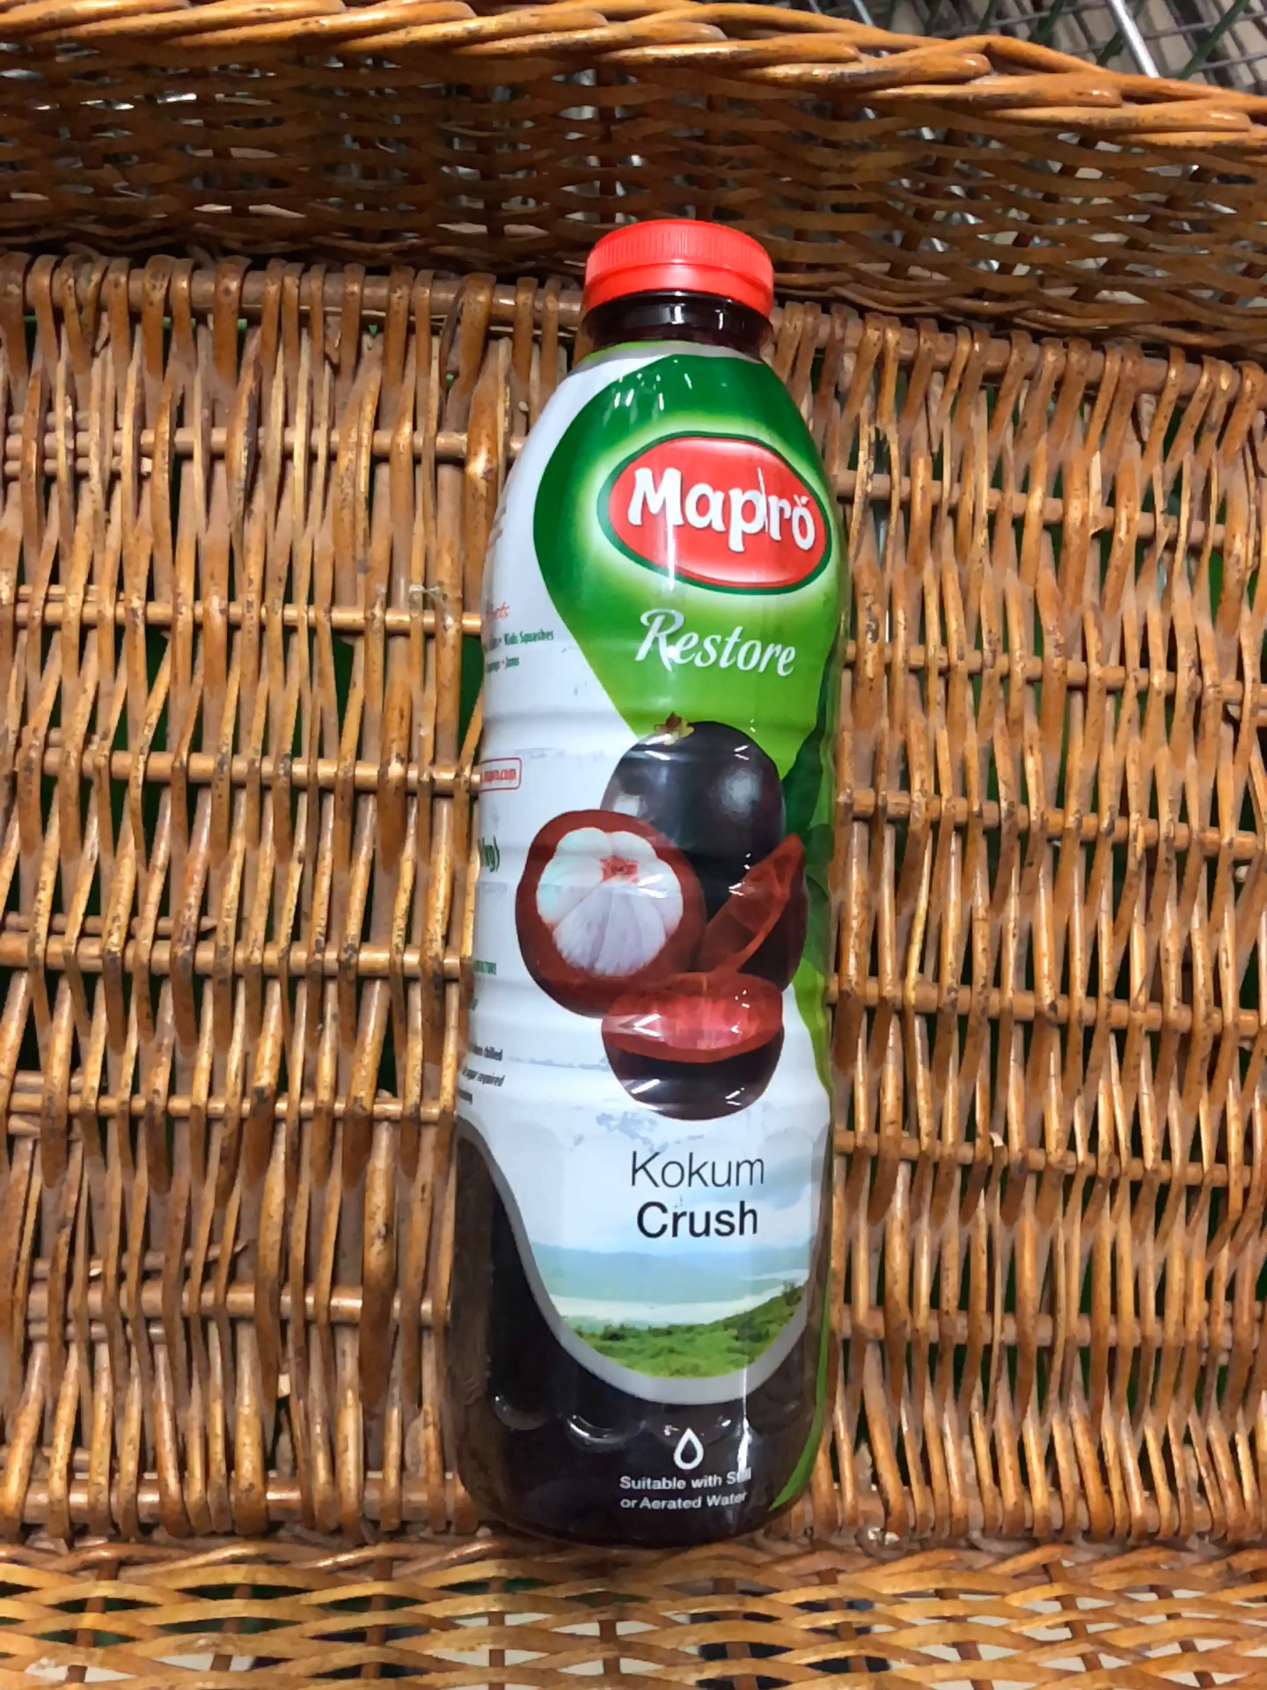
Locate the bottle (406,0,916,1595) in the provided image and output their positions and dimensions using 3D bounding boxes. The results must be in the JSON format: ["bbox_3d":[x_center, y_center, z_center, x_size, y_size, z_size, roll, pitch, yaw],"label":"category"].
[{"bbox_3d":[0.001,-0.009,0.282,0.080,0.080,0.270,2,87,-8],"label":"bottle"}]
